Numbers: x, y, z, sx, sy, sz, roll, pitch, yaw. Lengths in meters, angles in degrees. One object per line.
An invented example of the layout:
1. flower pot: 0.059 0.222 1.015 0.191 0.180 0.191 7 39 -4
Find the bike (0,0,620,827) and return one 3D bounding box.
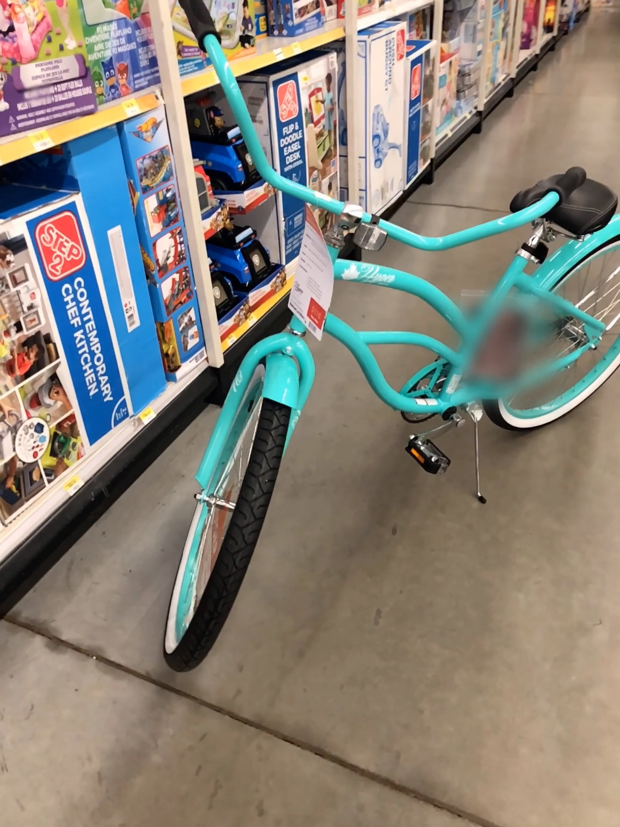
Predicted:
1. bike: 0.338 -0.124 1.372 1.495 1.144 0.760 -32 44 -28
